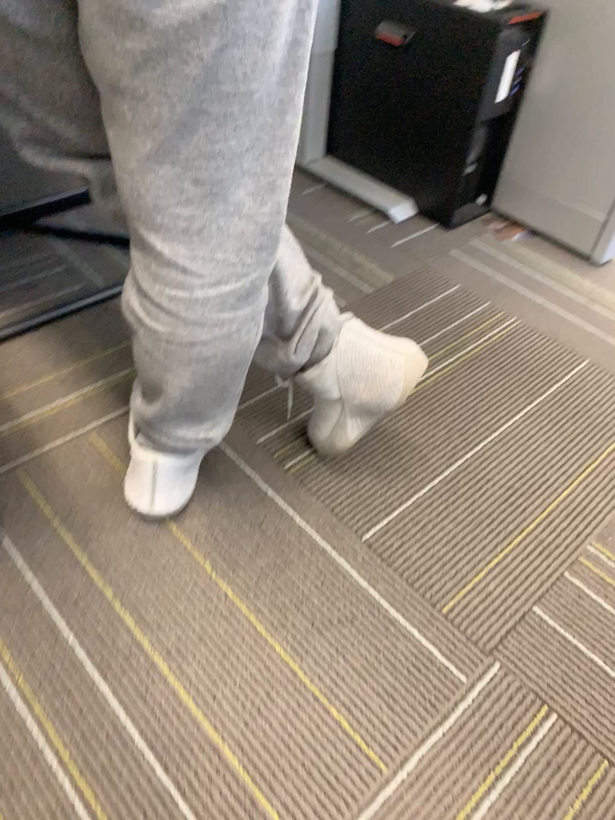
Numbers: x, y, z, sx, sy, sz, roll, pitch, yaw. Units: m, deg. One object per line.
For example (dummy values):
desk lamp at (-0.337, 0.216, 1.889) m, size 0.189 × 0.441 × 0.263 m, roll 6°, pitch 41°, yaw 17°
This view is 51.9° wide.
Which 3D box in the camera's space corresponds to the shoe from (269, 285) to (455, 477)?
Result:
shoe at (0.061, -0.024, 0.865) m, size 0.120 × 0.279 × 0.120 m, roll 34°, pitch 63°, yaw -3°

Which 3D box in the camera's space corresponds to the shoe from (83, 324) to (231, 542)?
shoe at (-0.204, 0.026, 0.933) m, size 0.130 × 0.149 × 0.281 m, roll 7°, pitch 45°, yaw 1°
